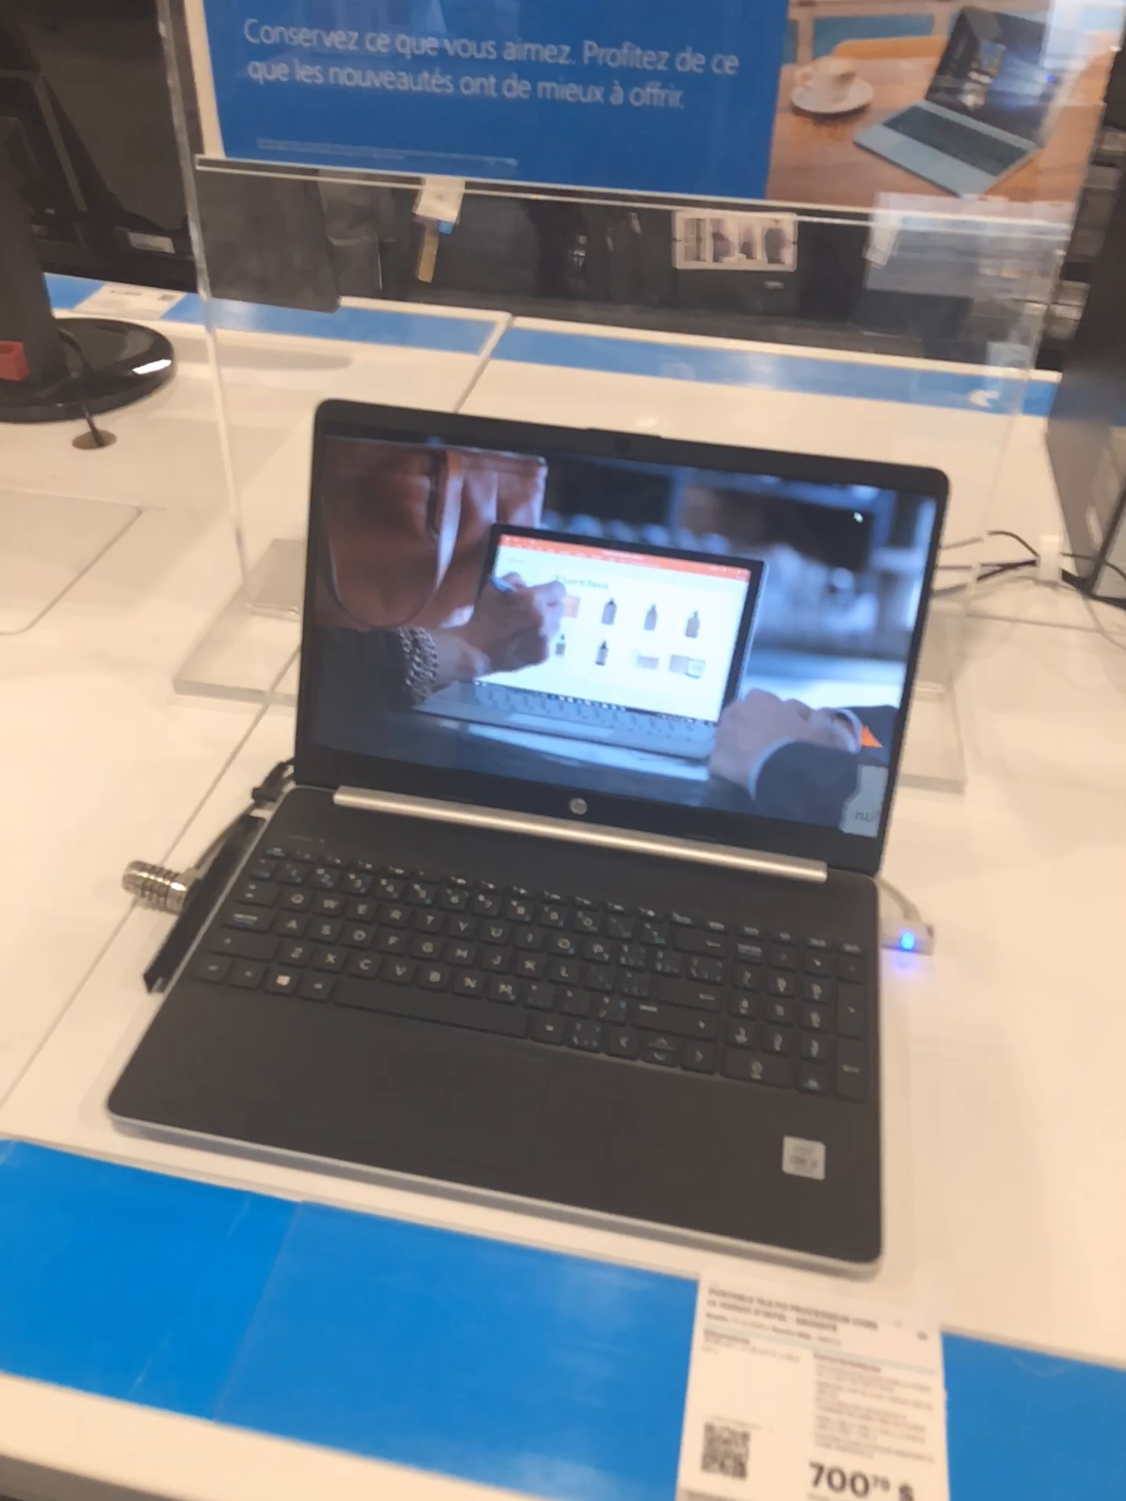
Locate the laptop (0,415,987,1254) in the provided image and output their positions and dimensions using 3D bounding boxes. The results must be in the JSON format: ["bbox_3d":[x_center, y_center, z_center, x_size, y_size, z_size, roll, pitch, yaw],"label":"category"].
[{"bbox_3d":[-0.001,0.012,0.611,0.346,0.196,0.335,8,39,7],"label":"laptop"}]
